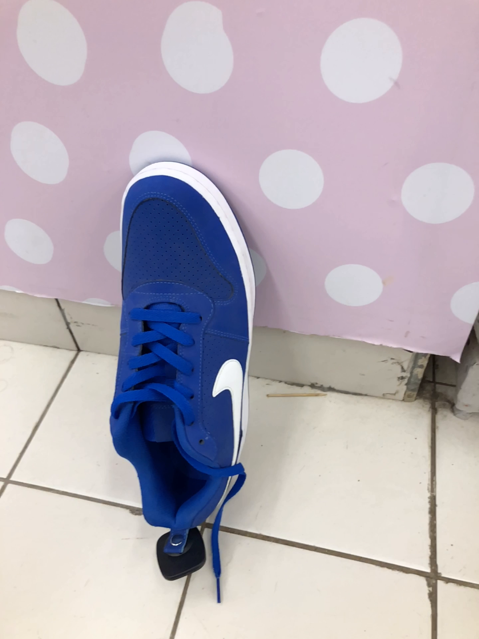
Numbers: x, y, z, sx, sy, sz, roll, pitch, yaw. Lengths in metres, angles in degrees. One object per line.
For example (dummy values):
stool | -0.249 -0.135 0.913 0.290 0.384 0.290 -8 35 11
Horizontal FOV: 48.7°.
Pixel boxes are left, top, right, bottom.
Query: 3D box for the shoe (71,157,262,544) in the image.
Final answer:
shoe | -0.046 0.024 0.422 0.110 0.289 0.080 3 20 14
